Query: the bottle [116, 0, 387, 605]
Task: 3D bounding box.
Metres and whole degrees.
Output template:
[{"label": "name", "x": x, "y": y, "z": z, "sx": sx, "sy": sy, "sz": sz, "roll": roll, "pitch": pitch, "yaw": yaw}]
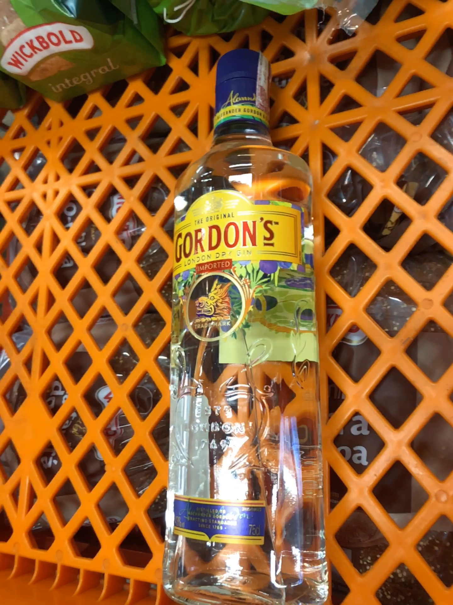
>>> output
[{"label": "bottle", "x": 0.017, "y": -0.011, "z": 0.270, "sx": 0.100, "sy": 0.100, "sz": 0.310, "roll": -5, "pitch": 78, "yaw": 24}]
